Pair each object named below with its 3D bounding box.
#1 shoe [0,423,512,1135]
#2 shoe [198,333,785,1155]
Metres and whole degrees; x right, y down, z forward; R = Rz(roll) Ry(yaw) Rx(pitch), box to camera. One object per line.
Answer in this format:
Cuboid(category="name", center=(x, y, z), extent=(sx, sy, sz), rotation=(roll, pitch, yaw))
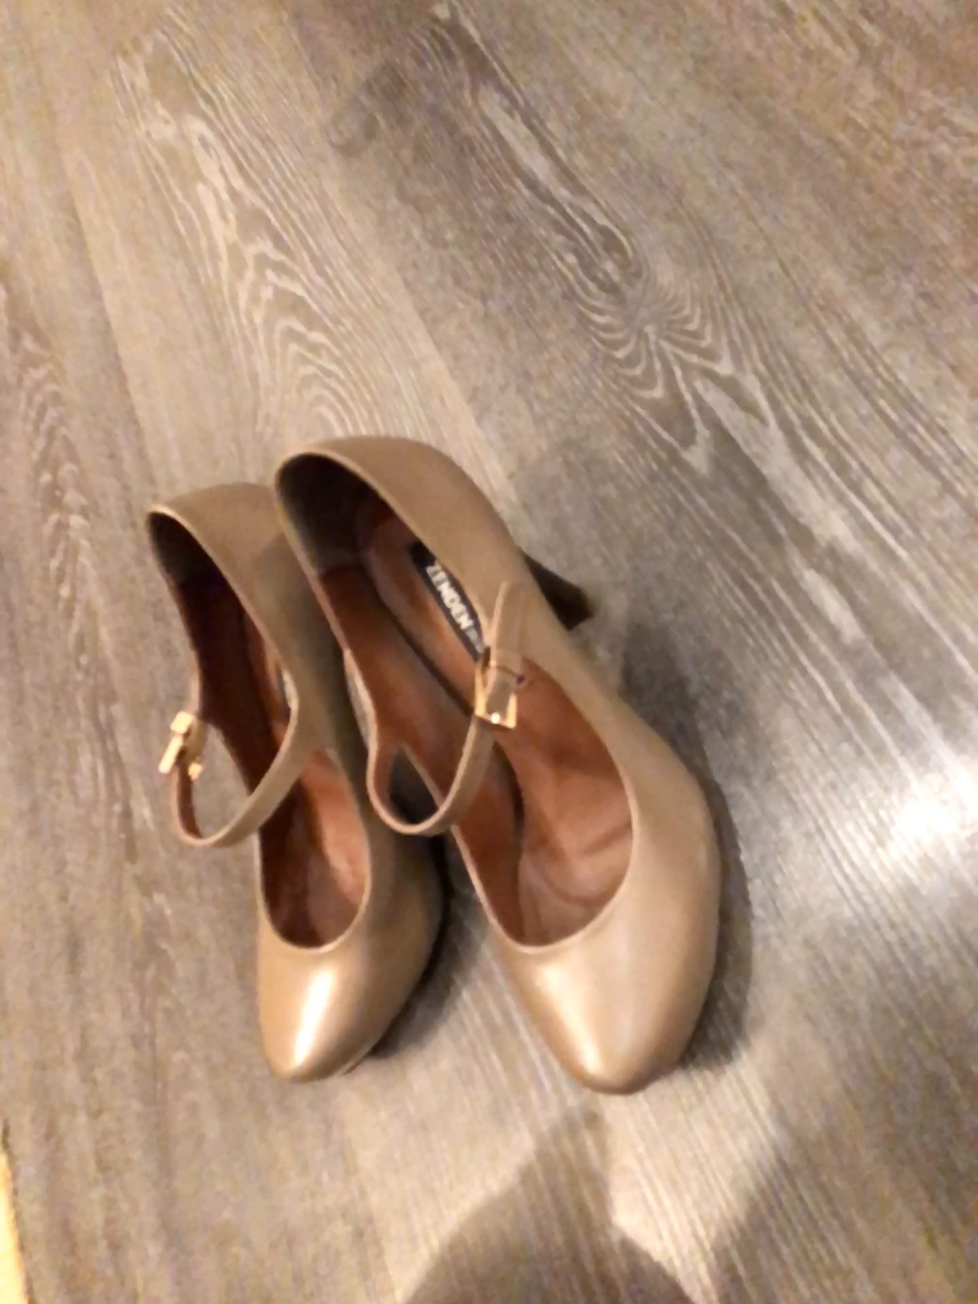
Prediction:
Cuboid(category="shoe", center=(-0.087, 0.051, 0.411), extent=(0.090, 0.149, 0.220), rotation=(1, 74, 35))
Cuboid(category="shoe", center=(0.000, 0.038, 0.354), extent=(0.090, 0.159, 0.211), rotation=(-24, 61, 26))
